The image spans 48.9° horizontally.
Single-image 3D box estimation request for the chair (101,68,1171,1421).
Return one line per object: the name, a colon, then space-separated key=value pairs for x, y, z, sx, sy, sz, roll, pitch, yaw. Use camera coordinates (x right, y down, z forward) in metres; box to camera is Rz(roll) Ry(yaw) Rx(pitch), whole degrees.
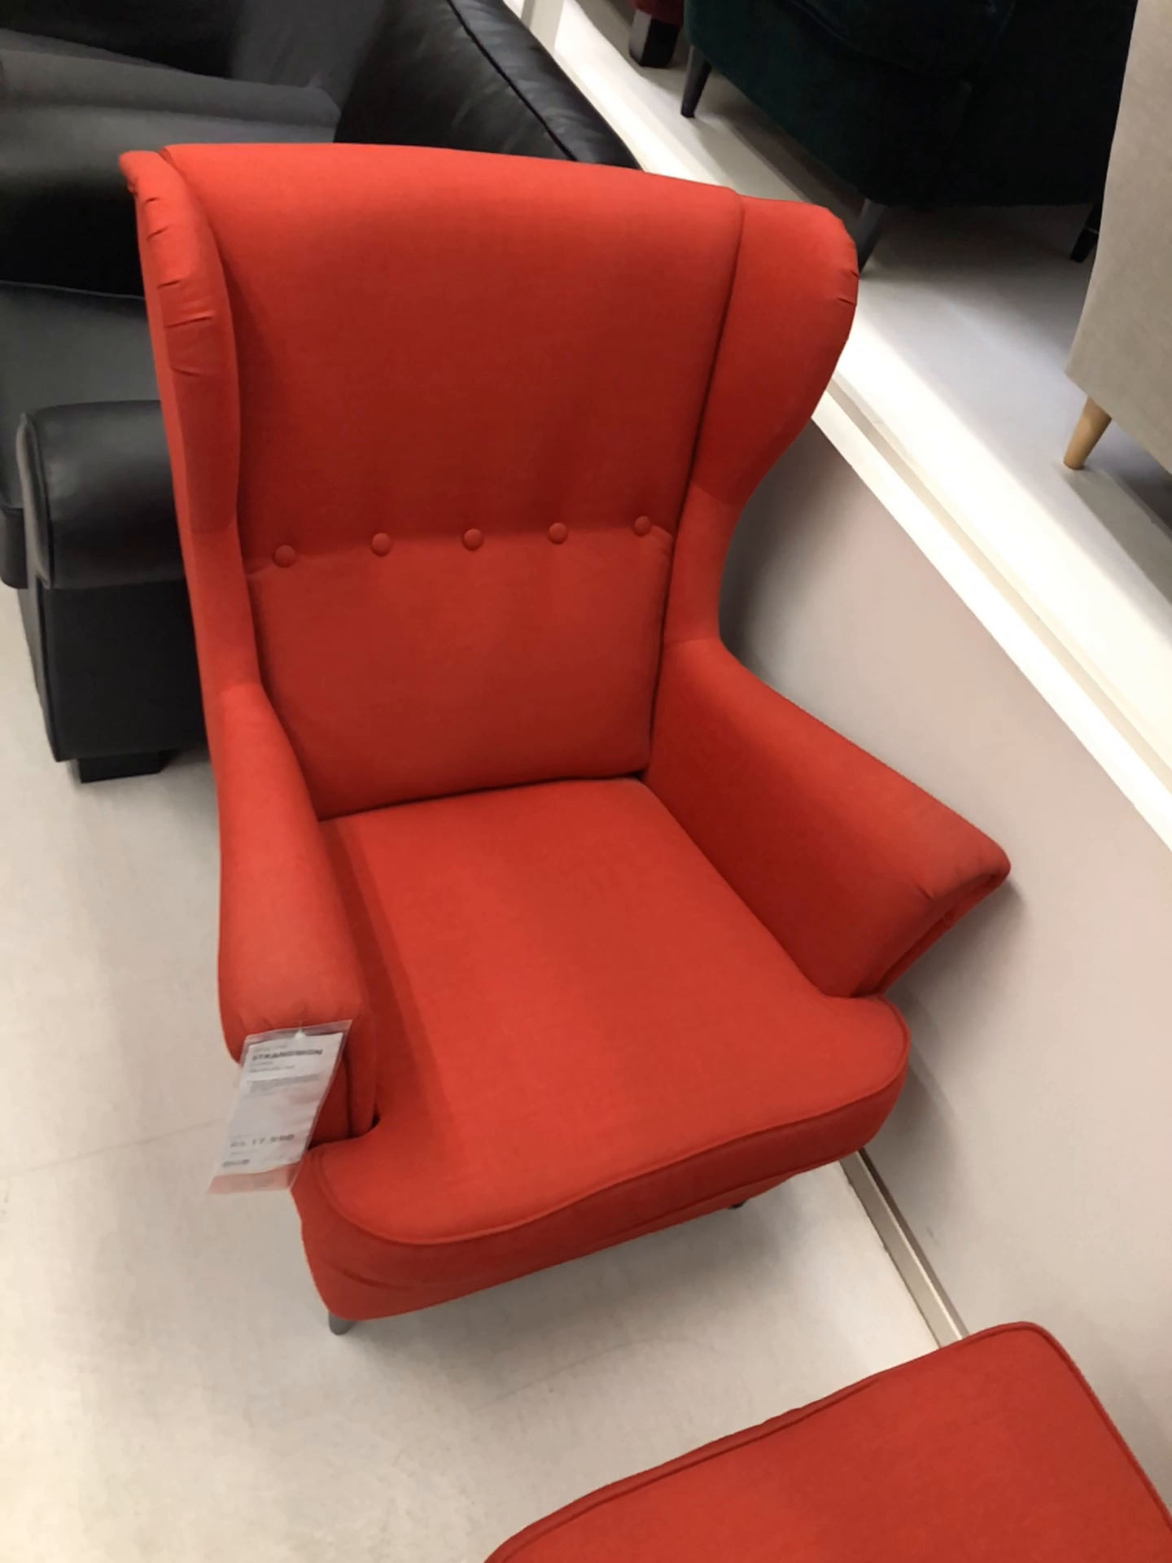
chair: x=0.029 y=-0.042 z=1.410 sx=0.902 sy=0.974 sz=0.844 roll=-9 pitch=52 yaw=-26
